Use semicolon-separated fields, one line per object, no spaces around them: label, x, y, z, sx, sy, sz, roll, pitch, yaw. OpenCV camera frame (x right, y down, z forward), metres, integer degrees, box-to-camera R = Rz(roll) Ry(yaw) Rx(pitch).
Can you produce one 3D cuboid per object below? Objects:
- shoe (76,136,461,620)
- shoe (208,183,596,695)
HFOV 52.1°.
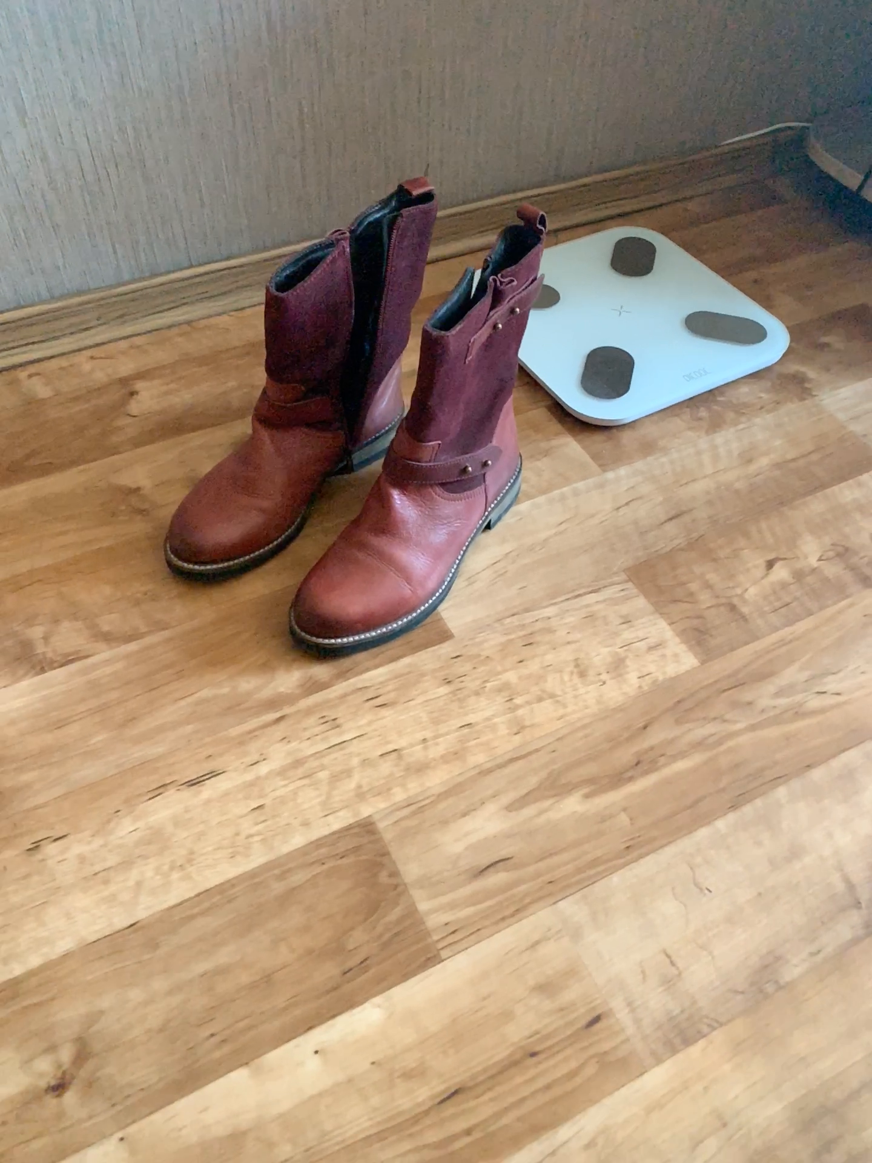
shoe;-0.101;-0.150;0.669;0.100;0.249;0.251;30;55;22
shoe;-0.012;-0.095;0.610;0.090;0.239;0.251;30;55;22
